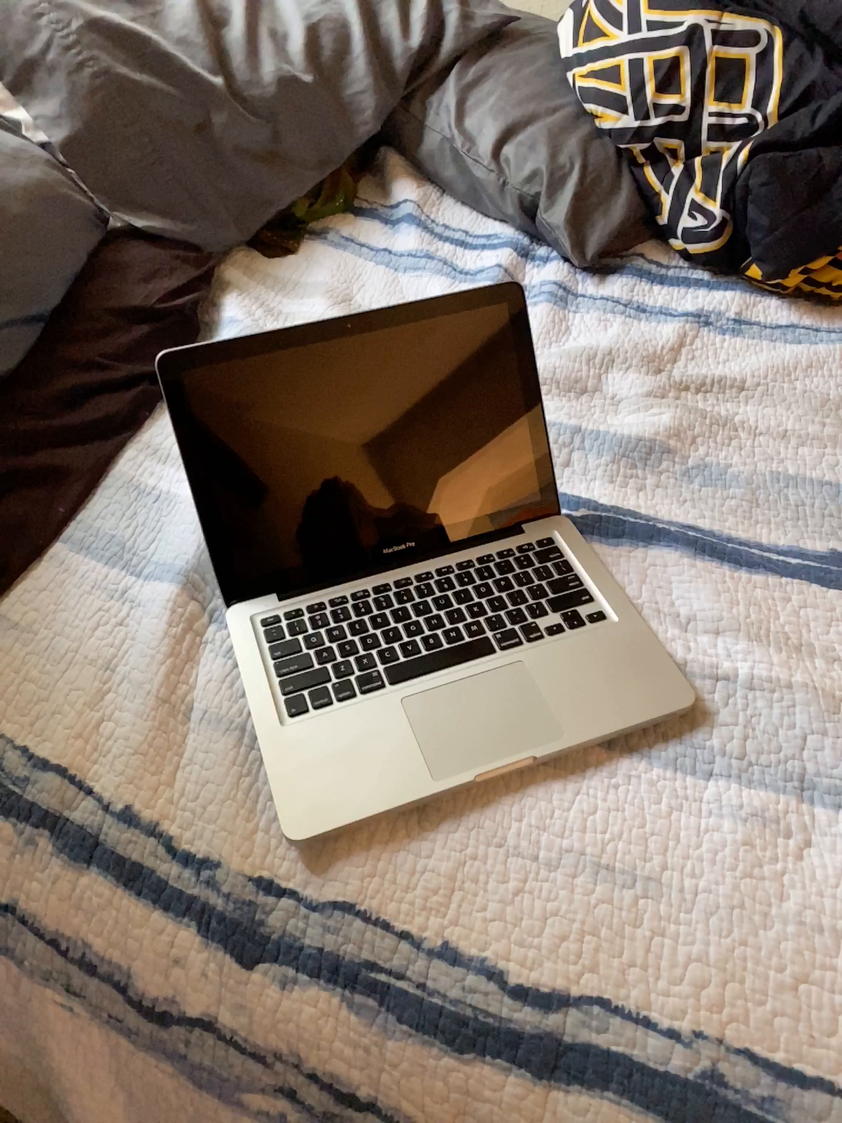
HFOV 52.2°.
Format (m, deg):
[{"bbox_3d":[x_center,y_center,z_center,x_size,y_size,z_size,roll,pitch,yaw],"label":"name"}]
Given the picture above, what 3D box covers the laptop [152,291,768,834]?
[{"bbox_3d":[-0.001,-0.027,0.664,0.319,0.169,0.347,-15,47,-12],"label":"laptop"}]
